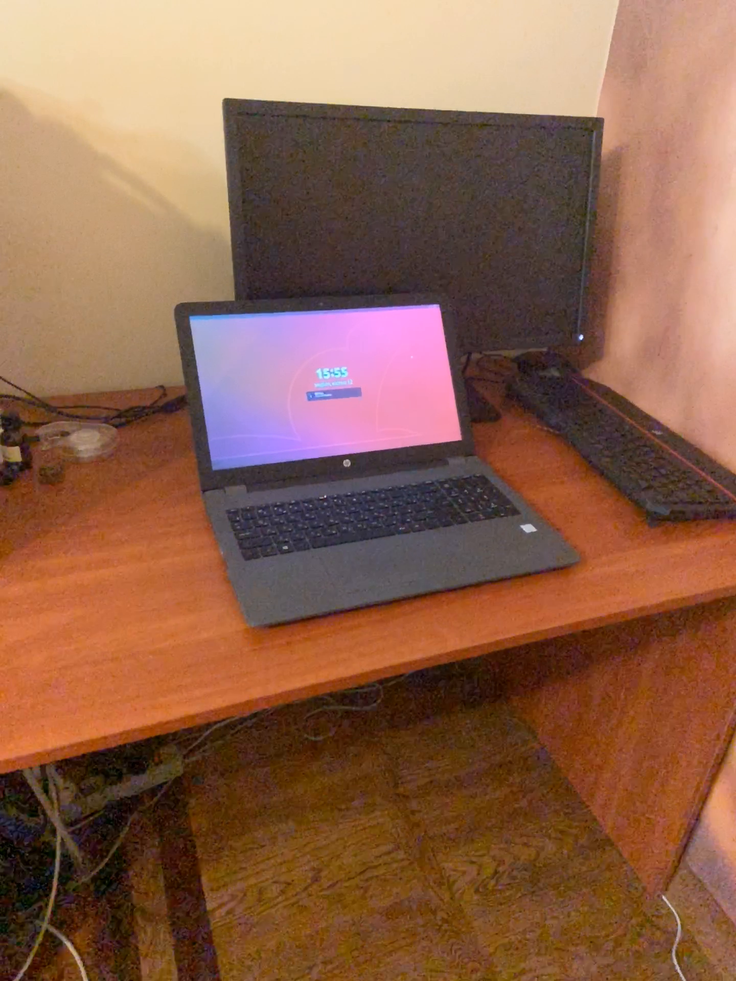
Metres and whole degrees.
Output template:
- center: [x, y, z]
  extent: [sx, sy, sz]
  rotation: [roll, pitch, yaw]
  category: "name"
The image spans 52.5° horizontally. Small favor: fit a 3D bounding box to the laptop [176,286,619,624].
- center: [0.000, -0.078, 0.852]
  extent: [0.366, 0.181, 0.376]
  rotation: [-8, 33, -20]
  category: "laptop"
